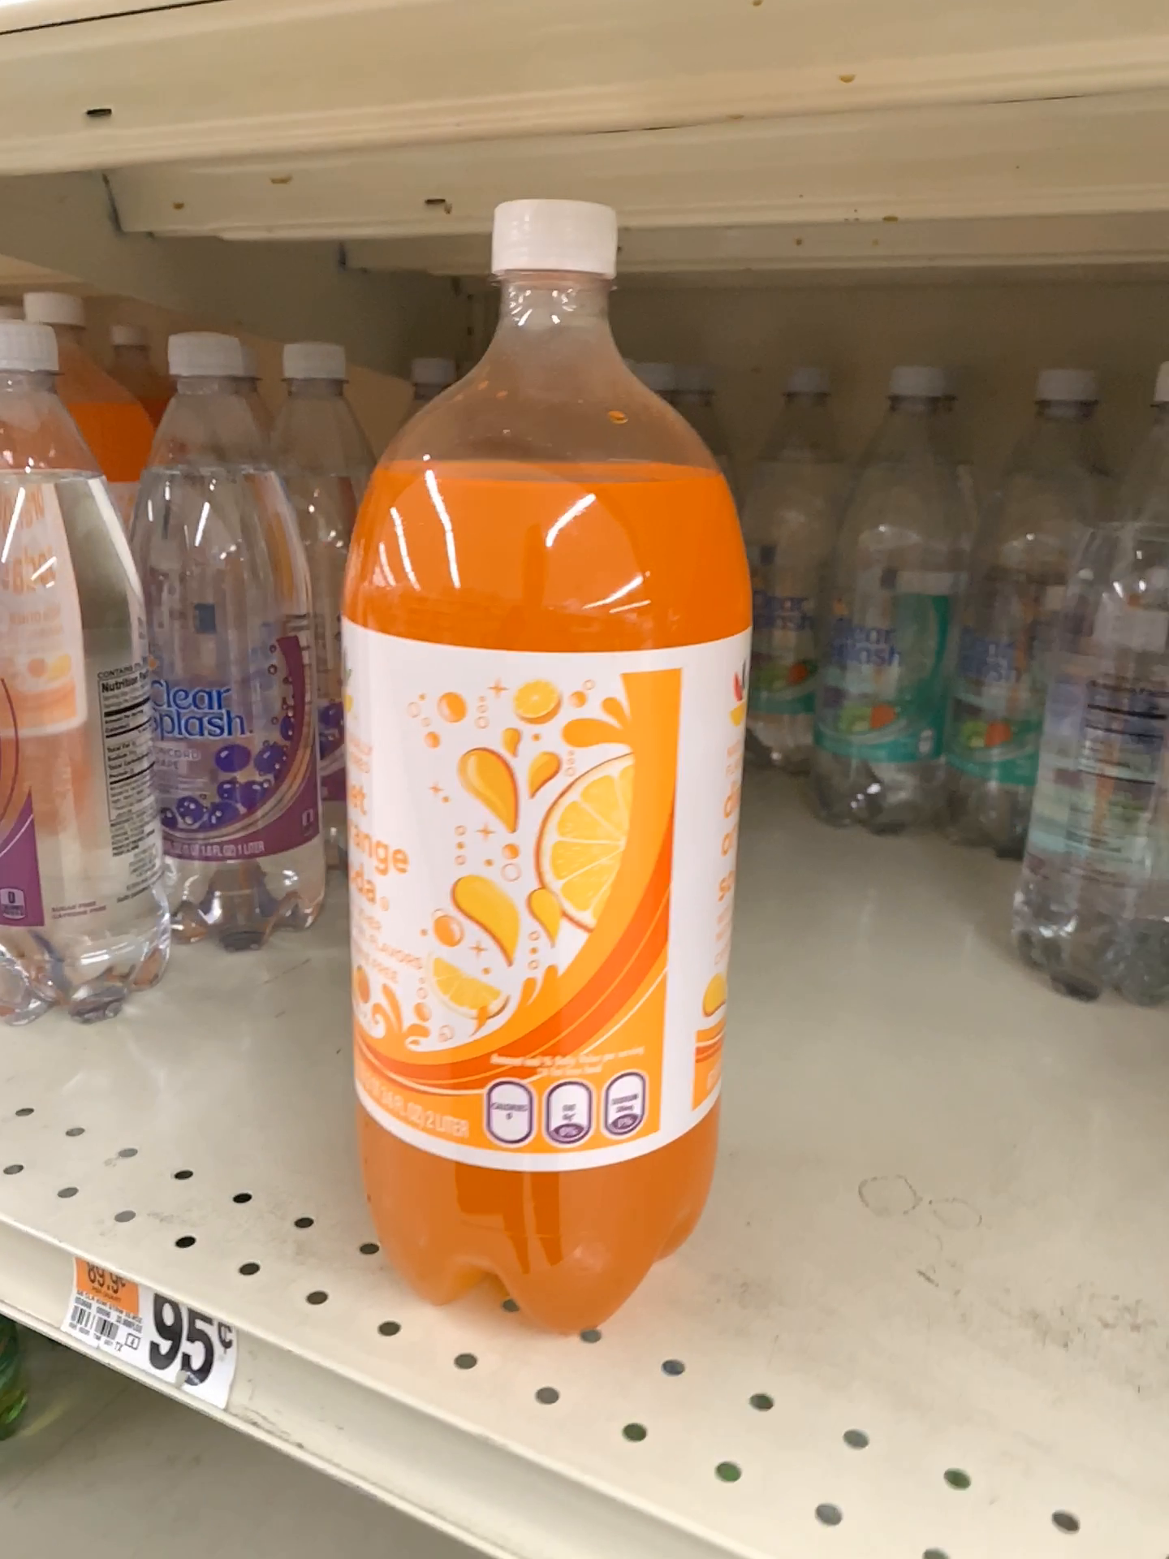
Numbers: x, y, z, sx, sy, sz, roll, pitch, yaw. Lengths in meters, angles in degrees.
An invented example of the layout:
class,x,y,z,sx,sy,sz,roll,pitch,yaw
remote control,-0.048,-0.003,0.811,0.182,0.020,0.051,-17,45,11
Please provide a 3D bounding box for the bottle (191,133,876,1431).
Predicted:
class,x,y,z,sx,sy,sz,roll,pitch,yaw
bottle,-0.011,-0.001,0.330,0.120,0.289,0.110,1,18,0
